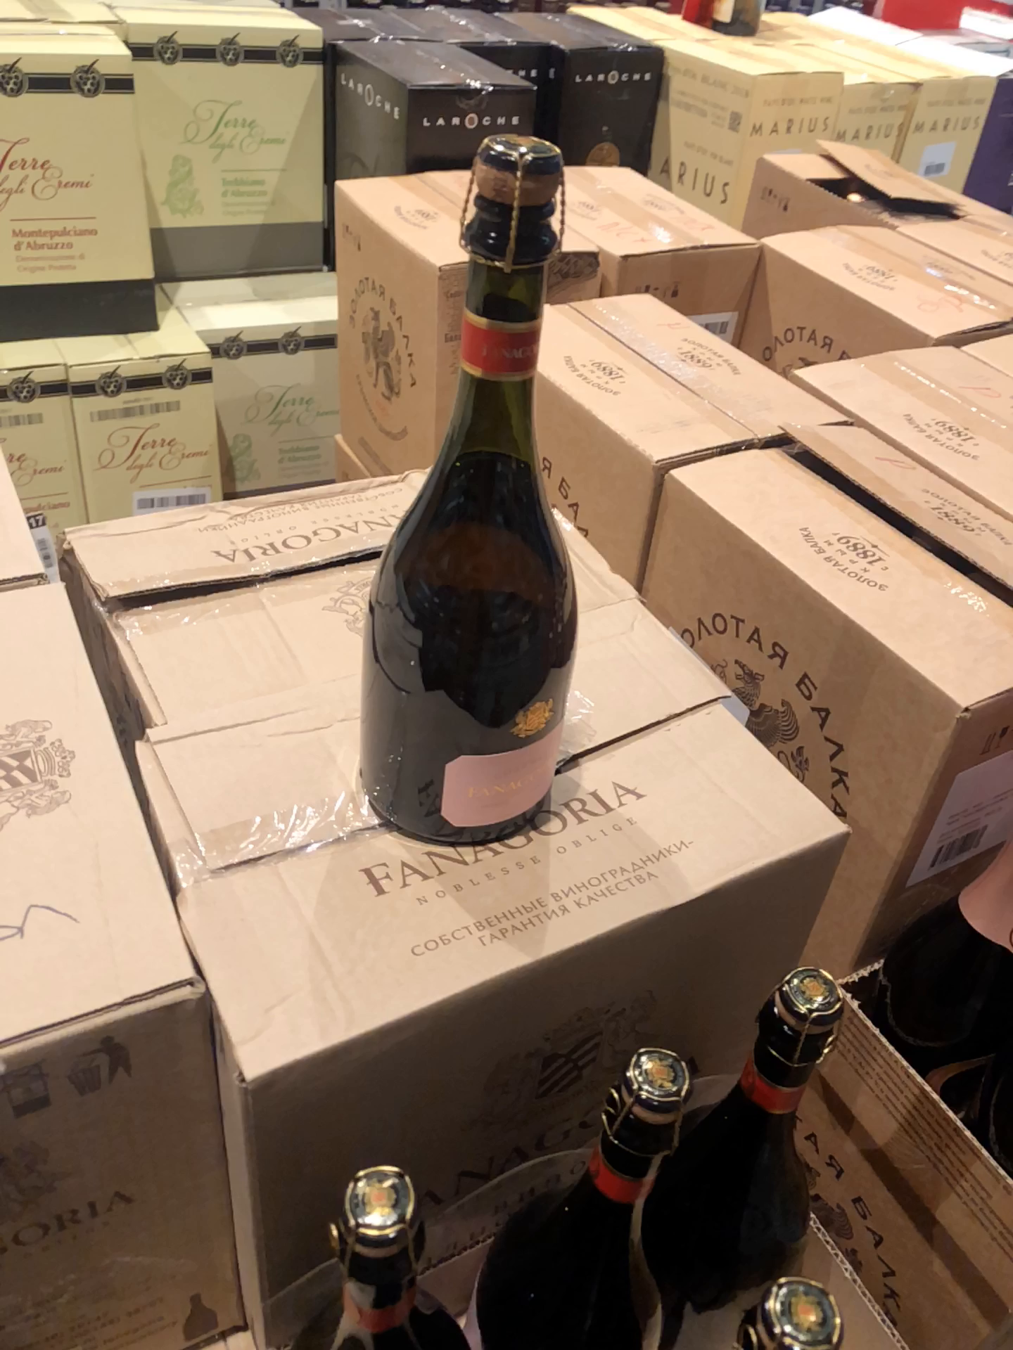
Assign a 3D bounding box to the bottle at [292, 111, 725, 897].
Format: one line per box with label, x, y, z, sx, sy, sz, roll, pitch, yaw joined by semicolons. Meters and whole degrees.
bottle;-0.011;-0.060;0.470;0.110;0.298;0.100;3;39;-3
